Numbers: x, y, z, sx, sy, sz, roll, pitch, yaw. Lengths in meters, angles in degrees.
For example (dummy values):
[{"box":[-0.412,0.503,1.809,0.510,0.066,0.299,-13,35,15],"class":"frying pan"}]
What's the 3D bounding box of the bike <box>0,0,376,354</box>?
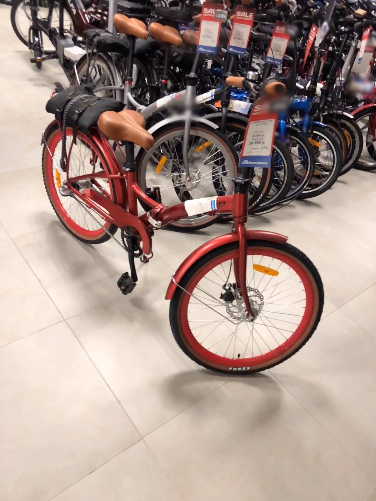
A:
[{"box":[-0.075,-0.409,1.742,1.495,1.111,0.519,26,40,22],"class":"bike"}]
